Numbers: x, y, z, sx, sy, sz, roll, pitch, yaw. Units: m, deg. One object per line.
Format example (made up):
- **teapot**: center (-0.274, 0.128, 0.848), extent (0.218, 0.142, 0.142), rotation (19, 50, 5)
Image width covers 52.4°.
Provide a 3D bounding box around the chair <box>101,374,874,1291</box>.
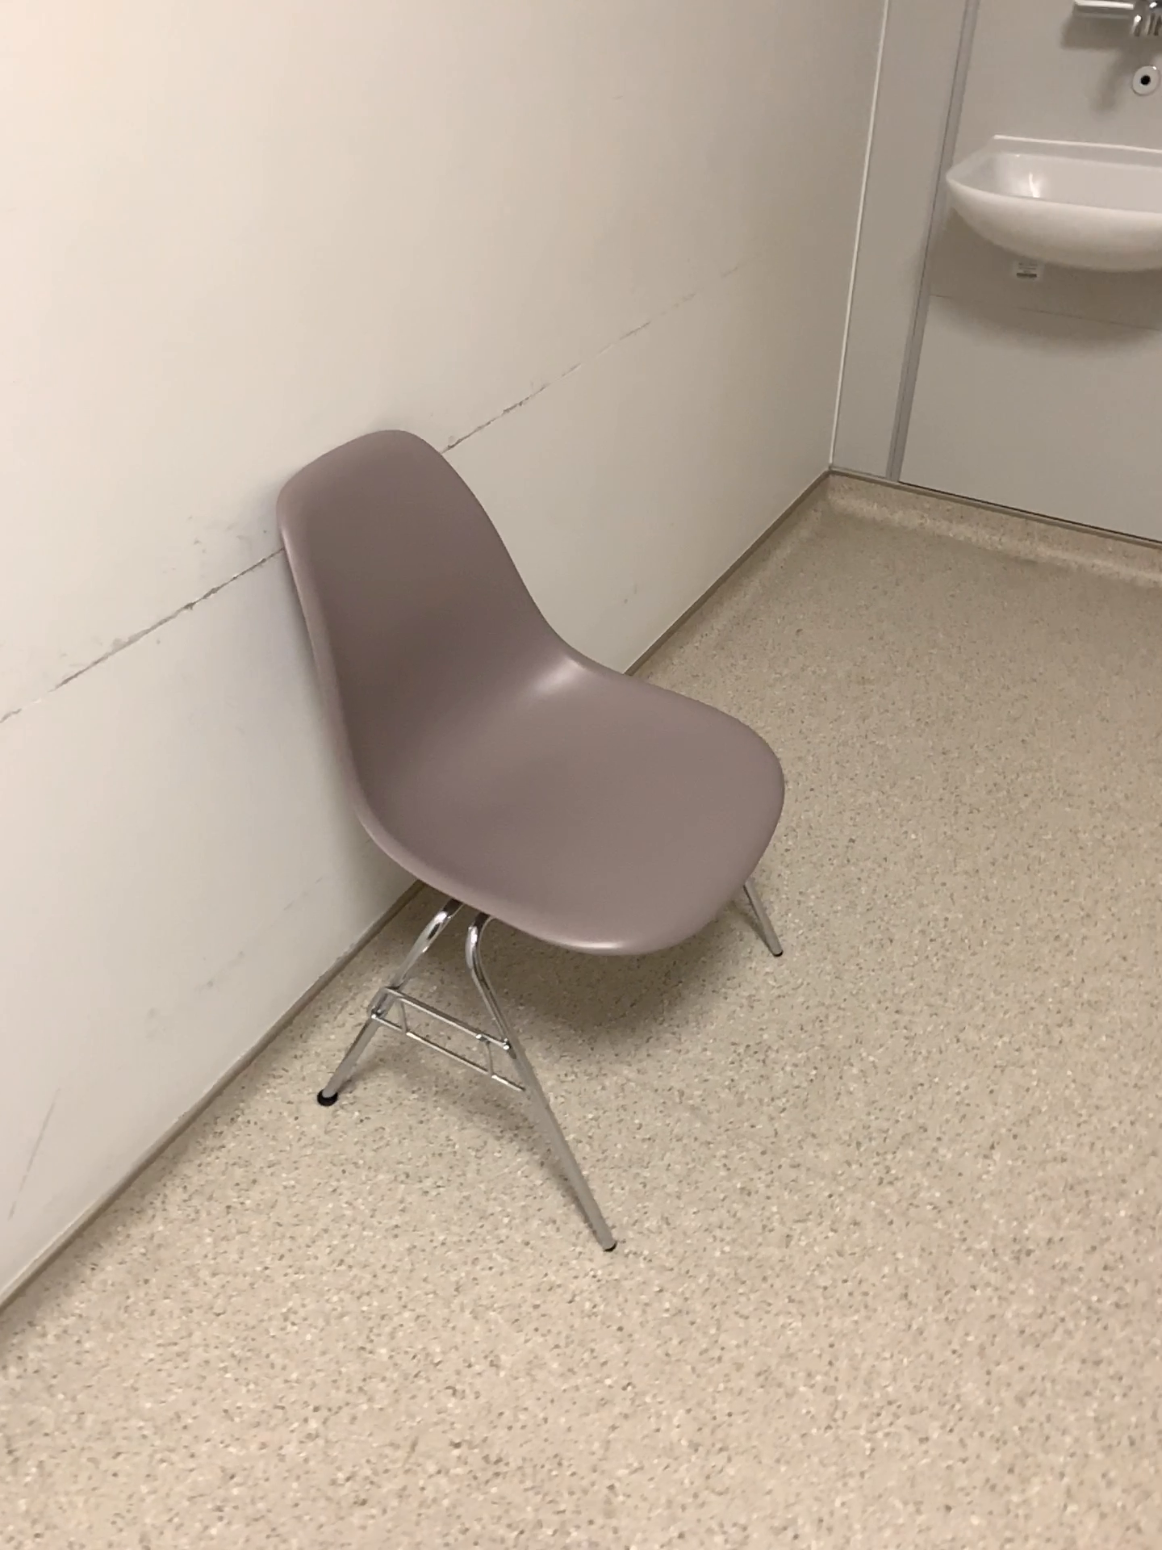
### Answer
- **chair**: center (-0.060, 0.046, 1.424), extent (0.542, 0.782, 0.584), rotation (20, 43, 24)
